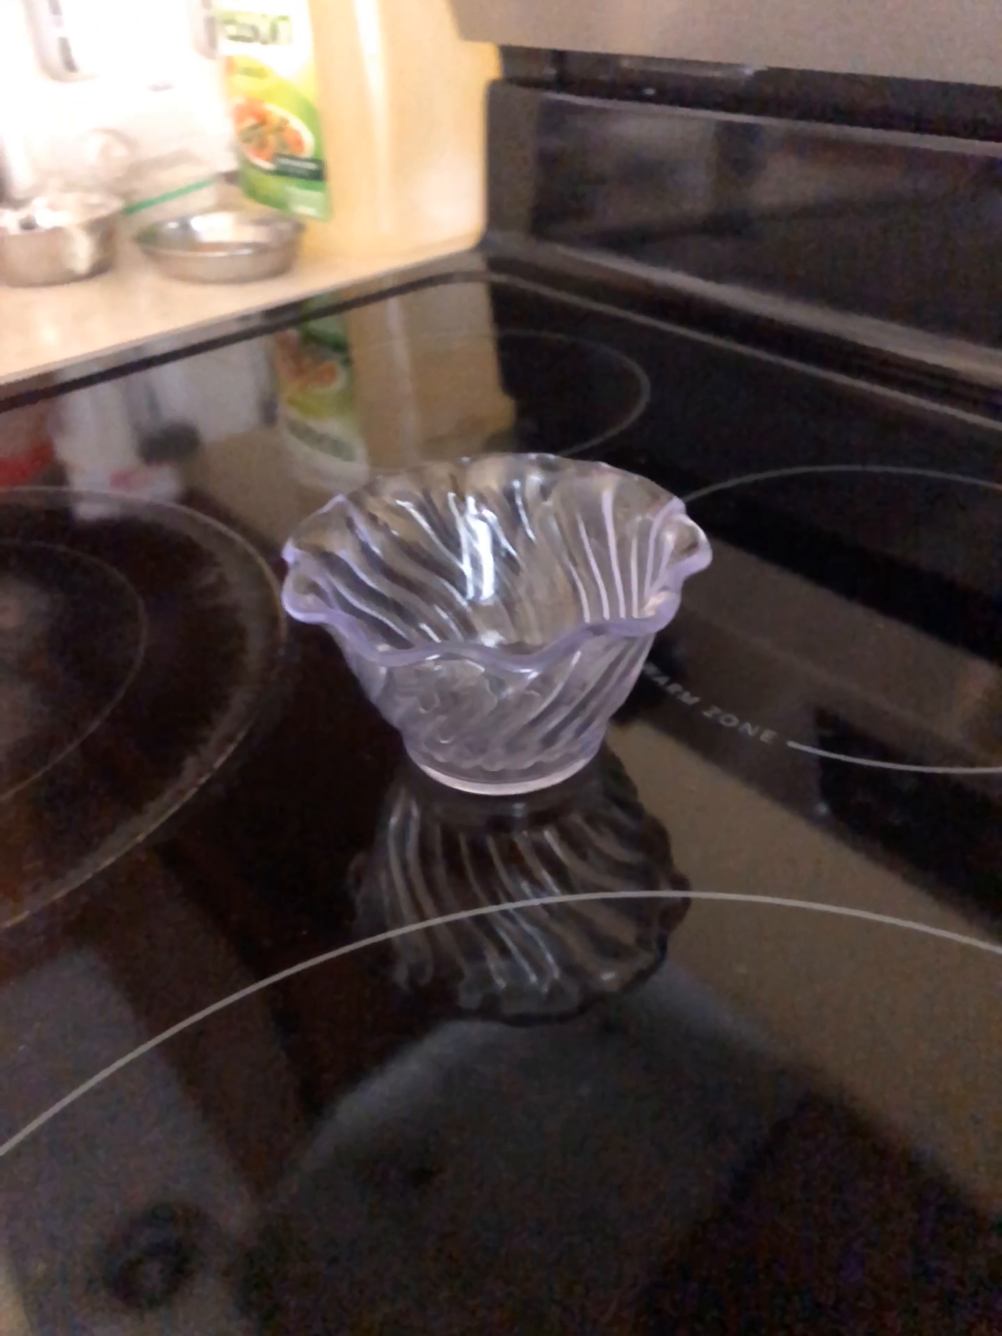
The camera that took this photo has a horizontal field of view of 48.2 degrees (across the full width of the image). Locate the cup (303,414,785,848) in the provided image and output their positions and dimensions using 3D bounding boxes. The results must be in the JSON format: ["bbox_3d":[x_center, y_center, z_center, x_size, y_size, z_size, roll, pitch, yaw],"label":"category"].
[{"bbox_3d":[0.004,-0.014,0.259,0.090,0.049,0.091,-3,34,2],"label":"cup"}]
